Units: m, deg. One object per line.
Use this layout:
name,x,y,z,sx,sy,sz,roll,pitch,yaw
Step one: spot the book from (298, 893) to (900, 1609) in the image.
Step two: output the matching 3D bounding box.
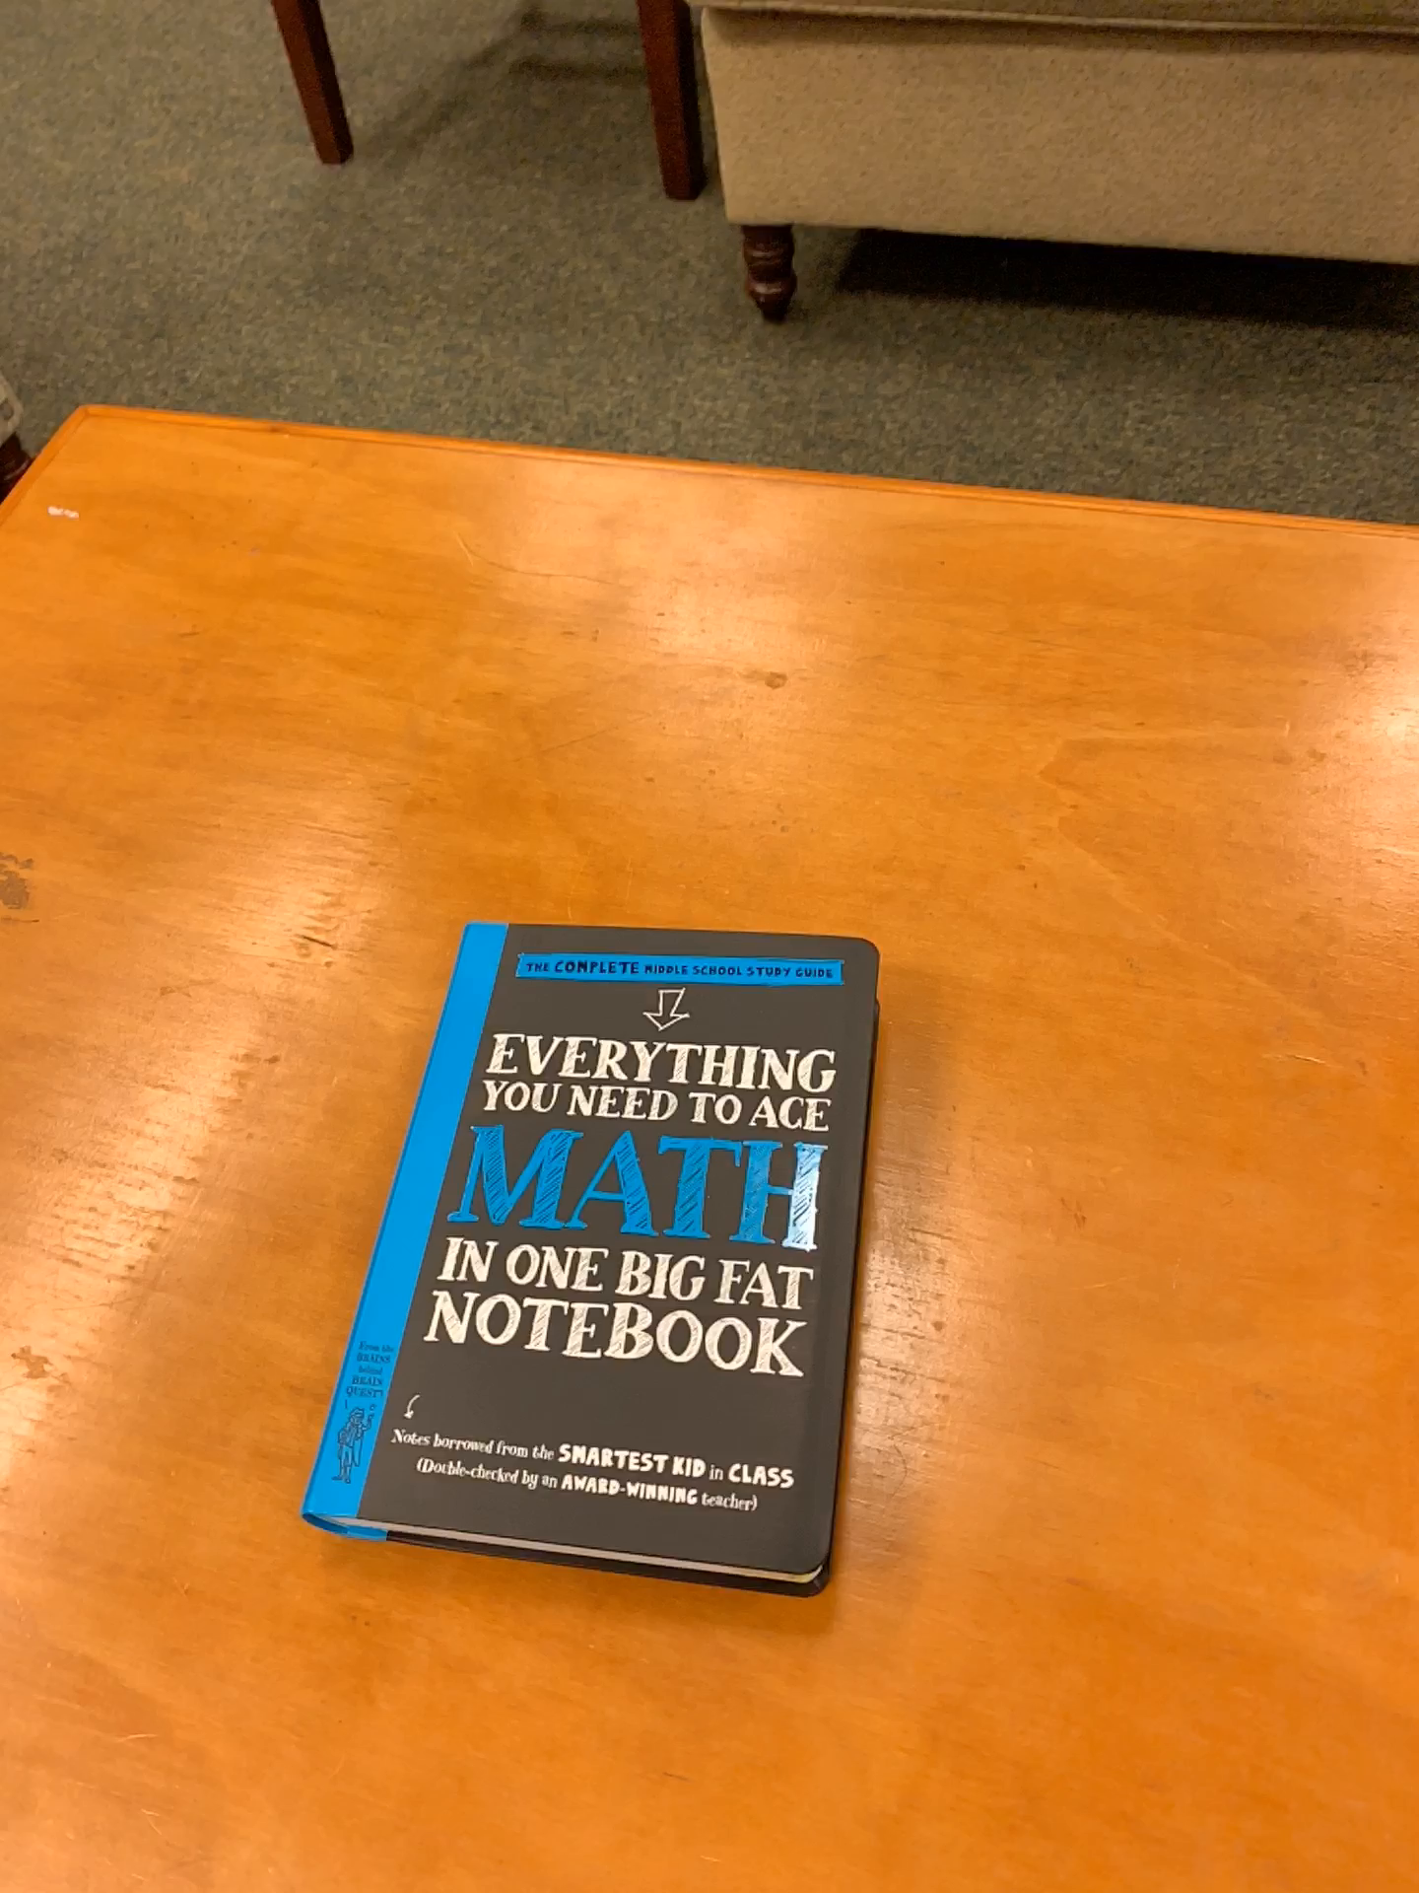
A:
book,-0.024,0.089,0.472,0.157,0.050,0.208,4,61,8
